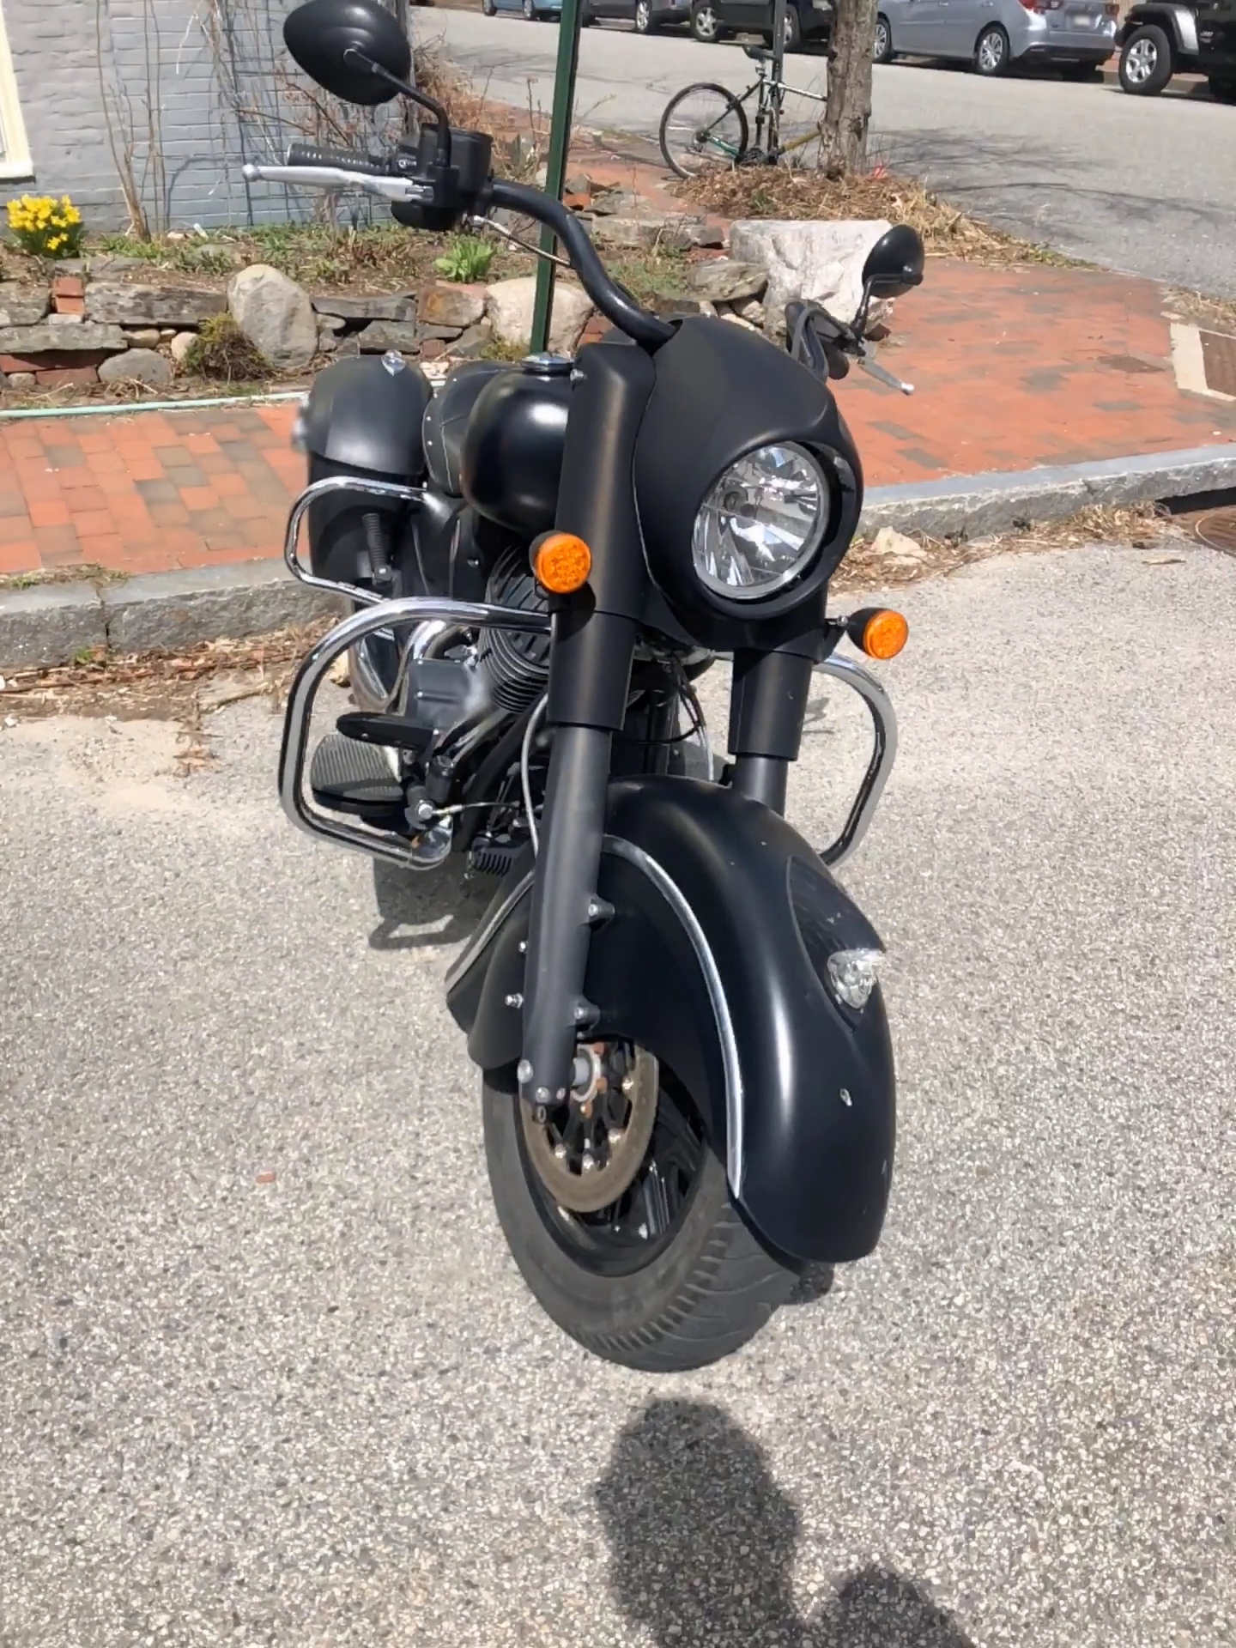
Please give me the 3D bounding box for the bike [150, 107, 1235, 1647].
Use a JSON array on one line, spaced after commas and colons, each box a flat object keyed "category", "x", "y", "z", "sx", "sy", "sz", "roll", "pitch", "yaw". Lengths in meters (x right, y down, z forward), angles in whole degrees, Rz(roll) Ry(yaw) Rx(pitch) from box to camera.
[{"category": "bike", "x": -0.143, "y": -0.259, "z": 2.077, "sx": 0.857, "sy": 1.300, "sz": 2.100, "roll": -9, "pitch": 33, "yaw": -15}]
